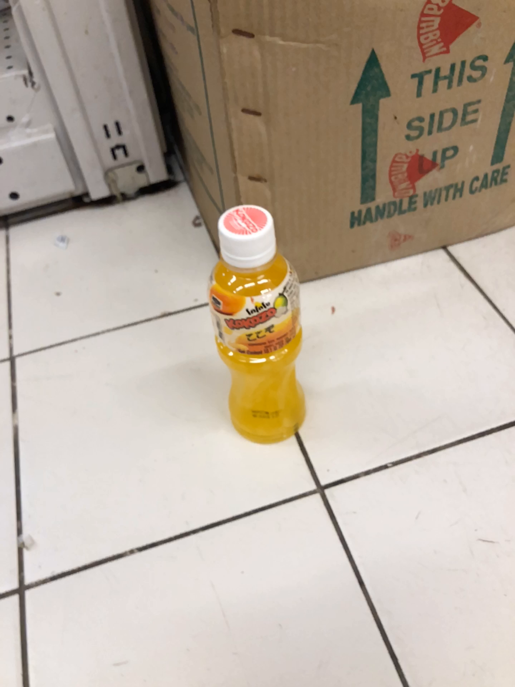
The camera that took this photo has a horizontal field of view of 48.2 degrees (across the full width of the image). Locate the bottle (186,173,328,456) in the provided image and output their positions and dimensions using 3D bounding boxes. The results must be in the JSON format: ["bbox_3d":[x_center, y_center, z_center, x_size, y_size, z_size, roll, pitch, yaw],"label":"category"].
[{"bbox_3d":[0.004,-0.008,0.374,0.070,0.179,0.070,-3,48,3],"label":"bottle"}]
